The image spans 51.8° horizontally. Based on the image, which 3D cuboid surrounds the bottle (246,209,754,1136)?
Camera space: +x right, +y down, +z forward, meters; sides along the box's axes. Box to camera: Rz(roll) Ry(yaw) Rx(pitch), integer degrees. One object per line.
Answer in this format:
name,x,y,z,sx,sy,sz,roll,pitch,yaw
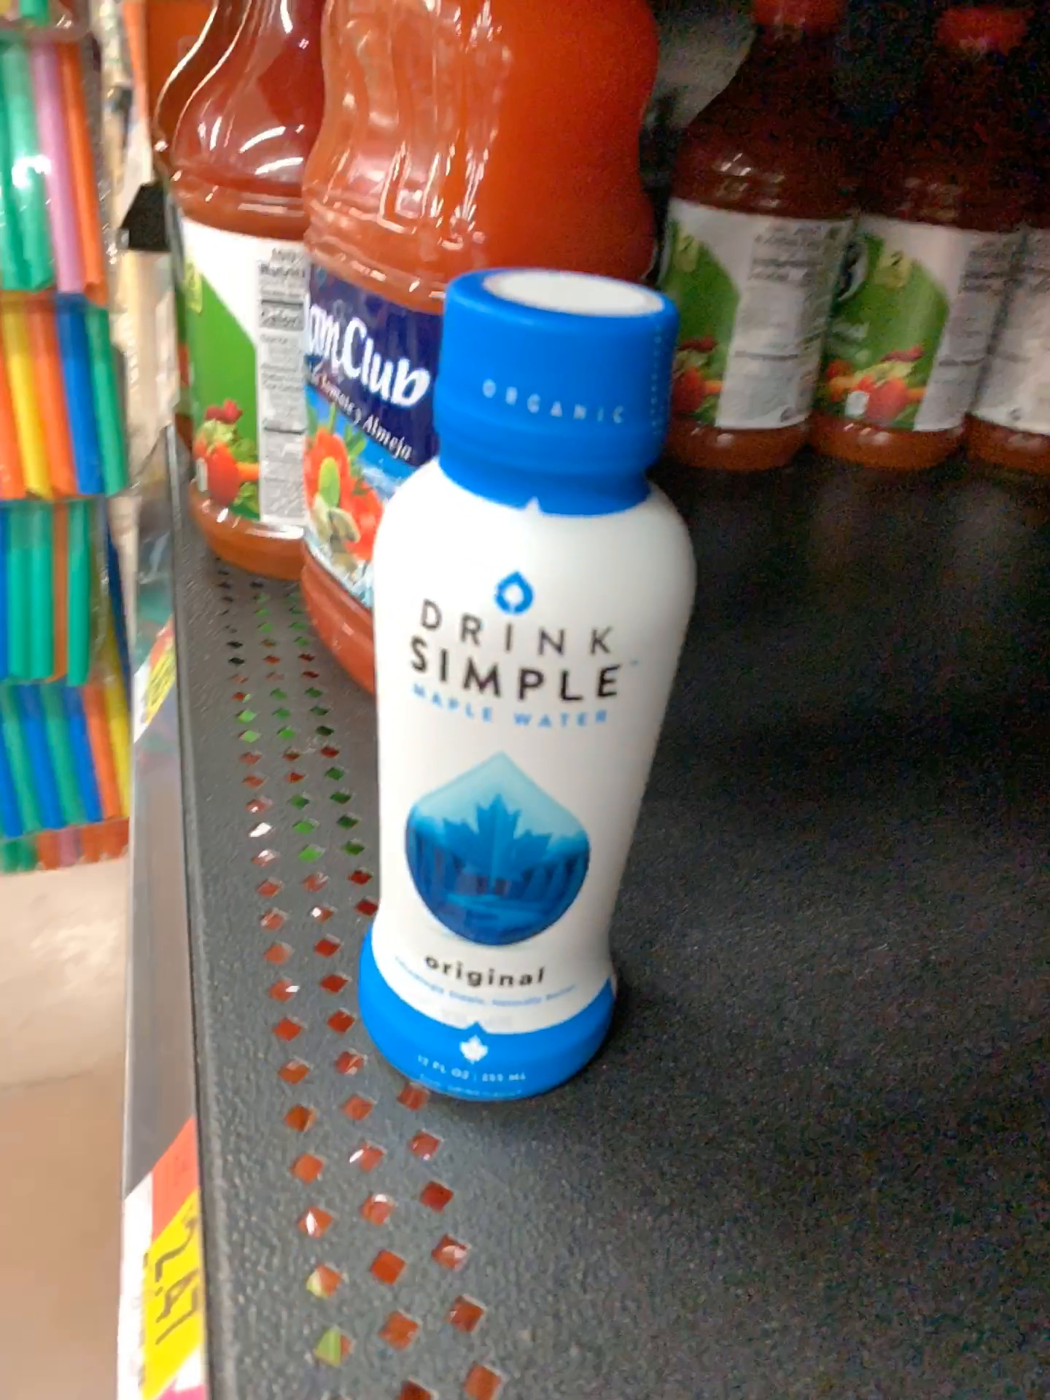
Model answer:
bottle,-0.005,0.000,0.219,0.070,0.169,0.066,4,32,-2
